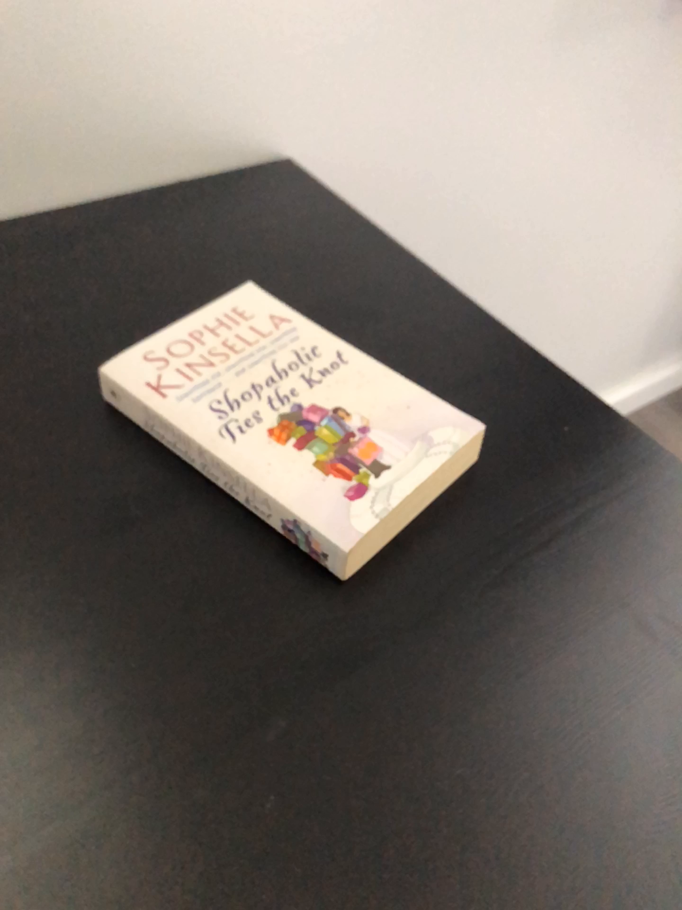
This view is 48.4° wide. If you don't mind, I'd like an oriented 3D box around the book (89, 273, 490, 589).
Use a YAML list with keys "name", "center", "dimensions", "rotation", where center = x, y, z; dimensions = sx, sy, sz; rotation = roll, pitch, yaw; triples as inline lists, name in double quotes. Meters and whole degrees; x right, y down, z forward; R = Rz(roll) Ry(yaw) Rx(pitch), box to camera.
- name: "book"
  center: [-0.033, -0.028, 0.458]
  dimensions: [0.200, 0.035, 0.131]
  rotation: [34, 53, 25]
